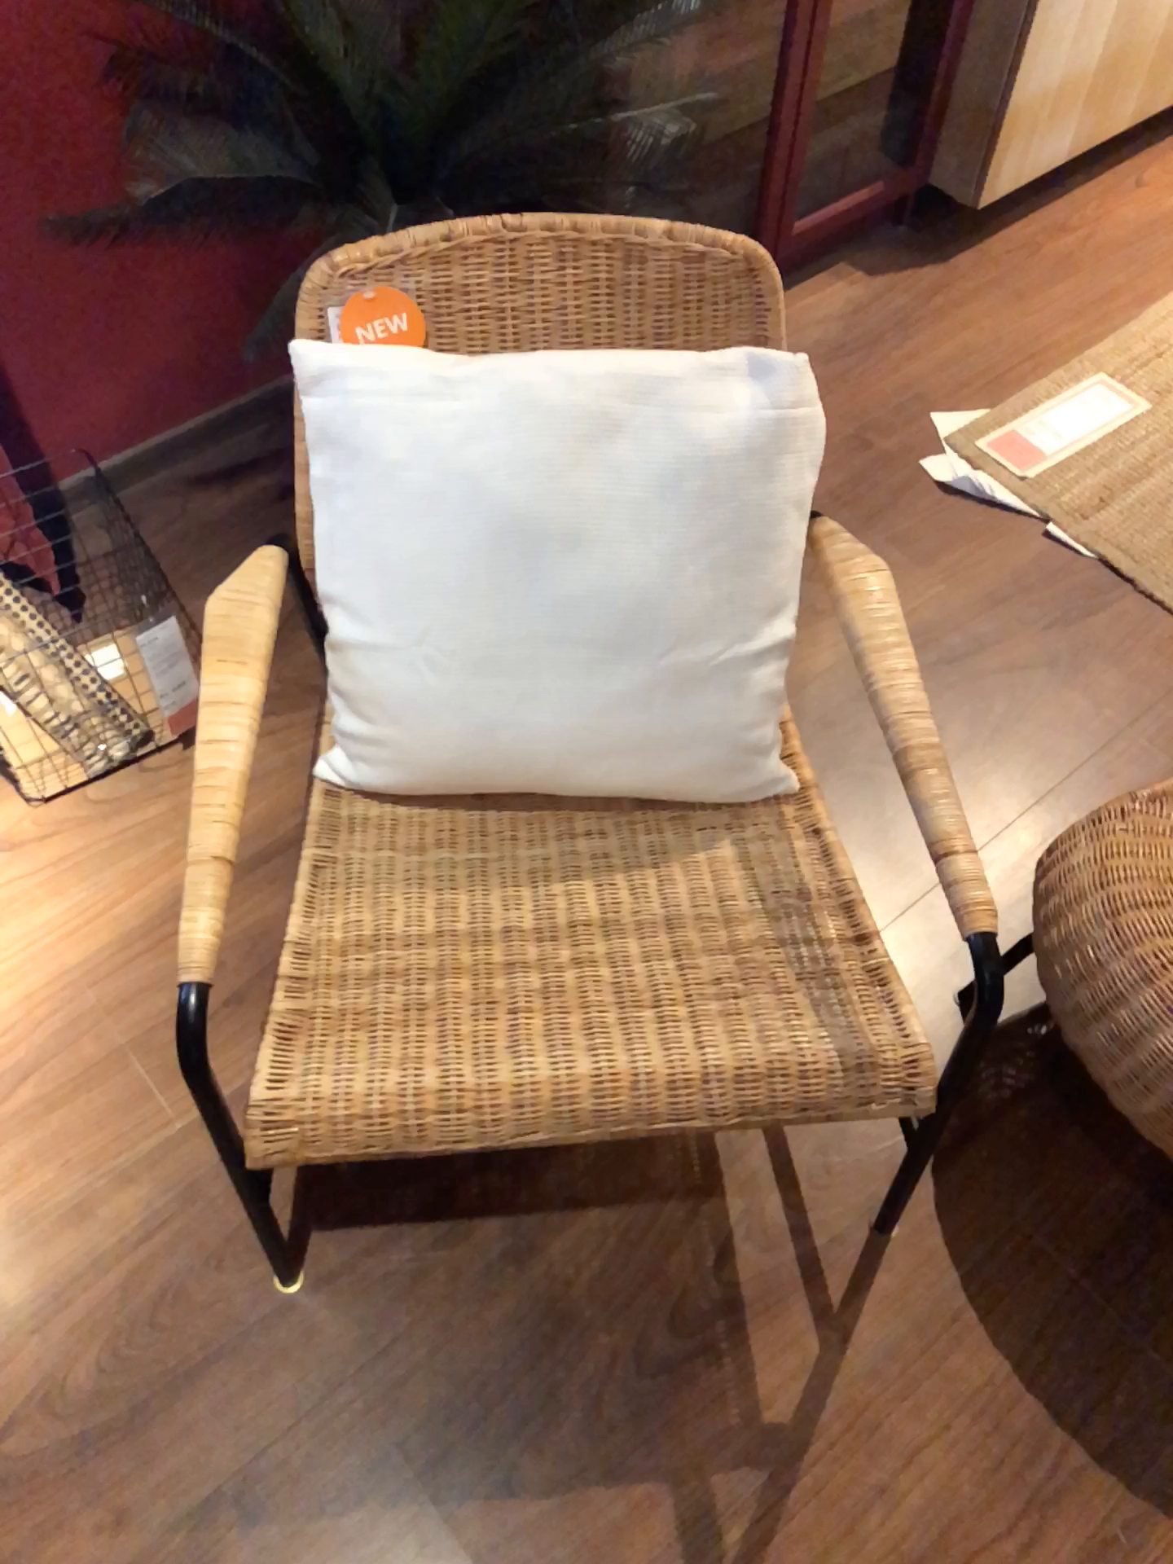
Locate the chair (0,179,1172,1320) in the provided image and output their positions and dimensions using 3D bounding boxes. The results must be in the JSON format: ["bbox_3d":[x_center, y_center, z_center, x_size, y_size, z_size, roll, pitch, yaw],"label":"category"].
[{"bbox_3d":[-0.008,0.004,1.129,0.670,0.706,0.663,-4,55,-5],"label":"chair"}]
